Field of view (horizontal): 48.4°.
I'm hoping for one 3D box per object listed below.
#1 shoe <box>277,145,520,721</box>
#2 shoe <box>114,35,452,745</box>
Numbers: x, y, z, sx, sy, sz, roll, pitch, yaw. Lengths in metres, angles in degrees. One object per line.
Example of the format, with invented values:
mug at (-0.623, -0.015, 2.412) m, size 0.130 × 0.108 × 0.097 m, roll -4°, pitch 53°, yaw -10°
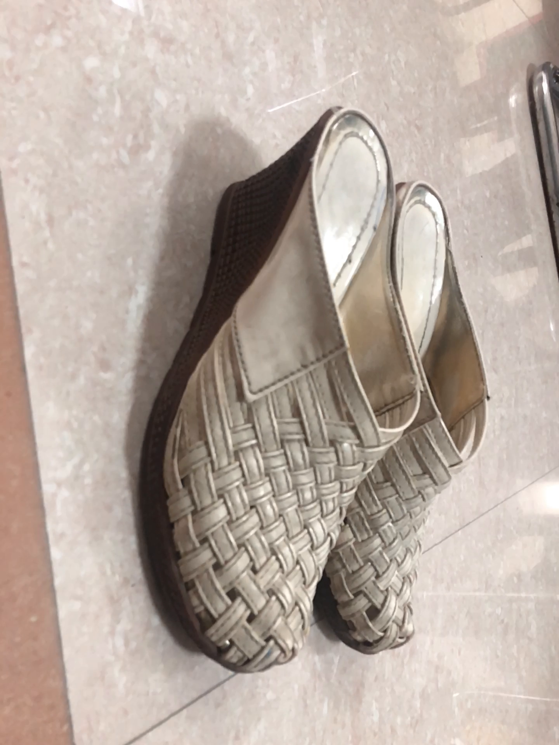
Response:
shoe at (0.060, 0.026, 0.320) m, size 0.091 × 0.080 × 0.240 m, roll 9°, pitch 79°, yaw -45°
shoe at (0.011, 0.005, 0.261) m, size 0.090 × 0.080 × 0.240 m, roll 21°, pitch 70°, yaw -45°
